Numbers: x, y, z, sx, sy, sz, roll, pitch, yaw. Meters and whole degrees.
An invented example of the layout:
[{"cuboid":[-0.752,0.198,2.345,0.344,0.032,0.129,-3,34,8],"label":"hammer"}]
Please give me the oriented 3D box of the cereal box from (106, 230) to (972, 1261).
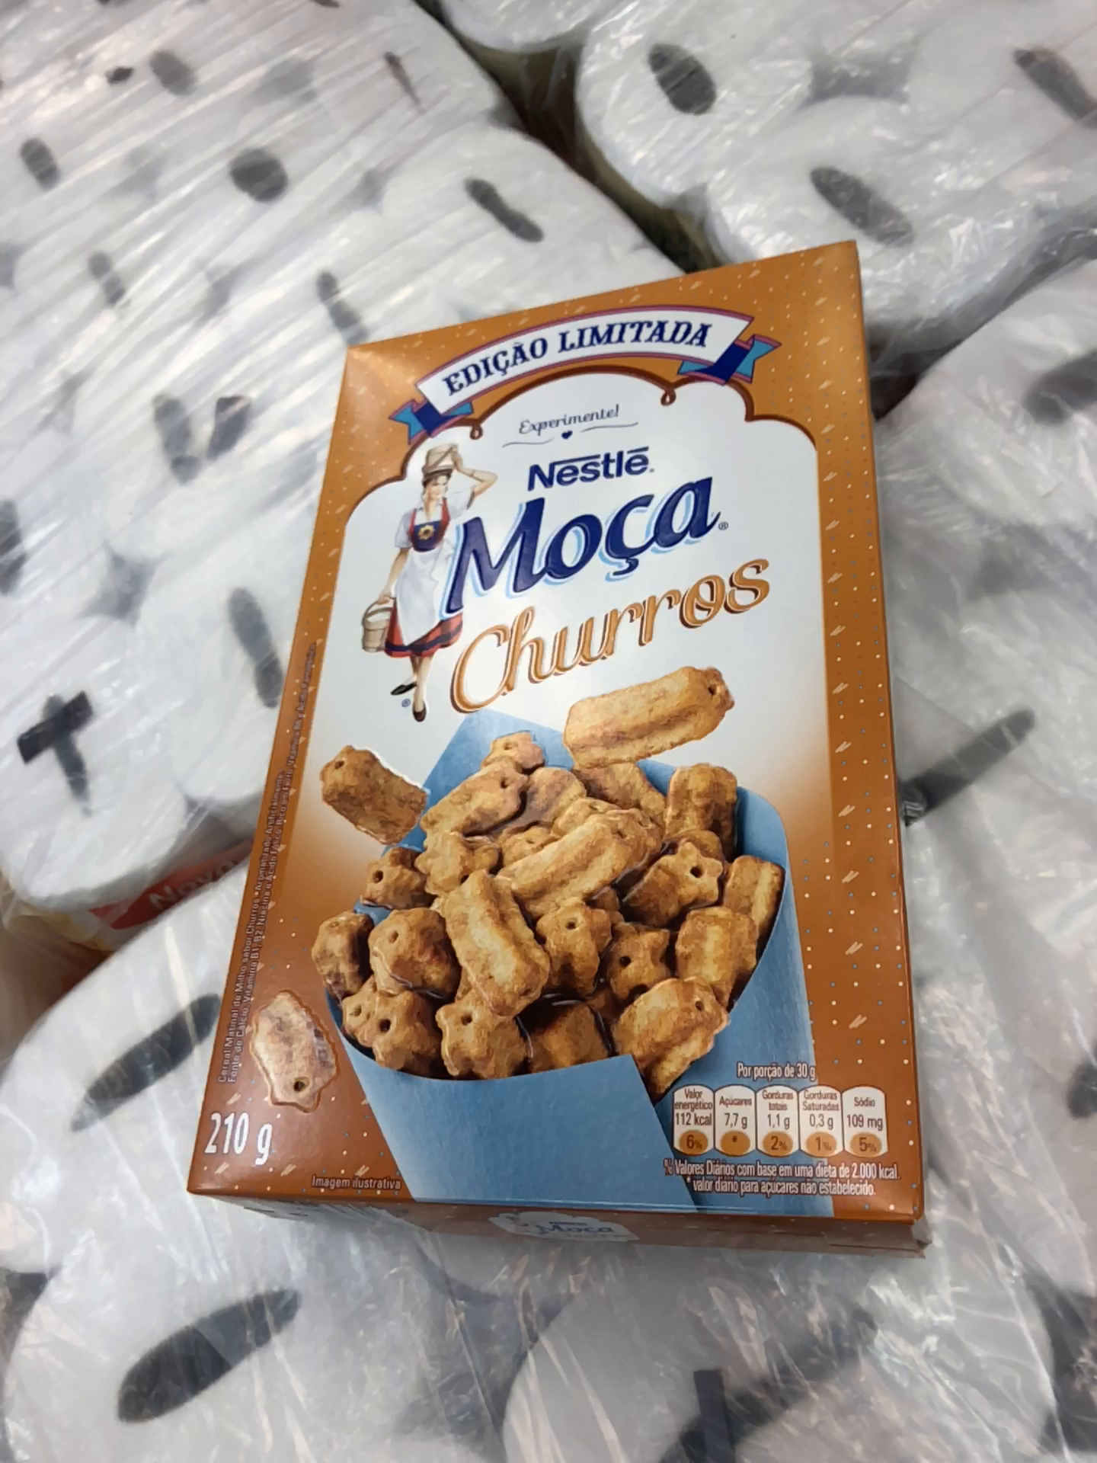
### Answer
[{"cuboid":[0.004,-0.004,0.305,0.170,0.050,0.241,-6,60,18],"label":"cereal box"}]
